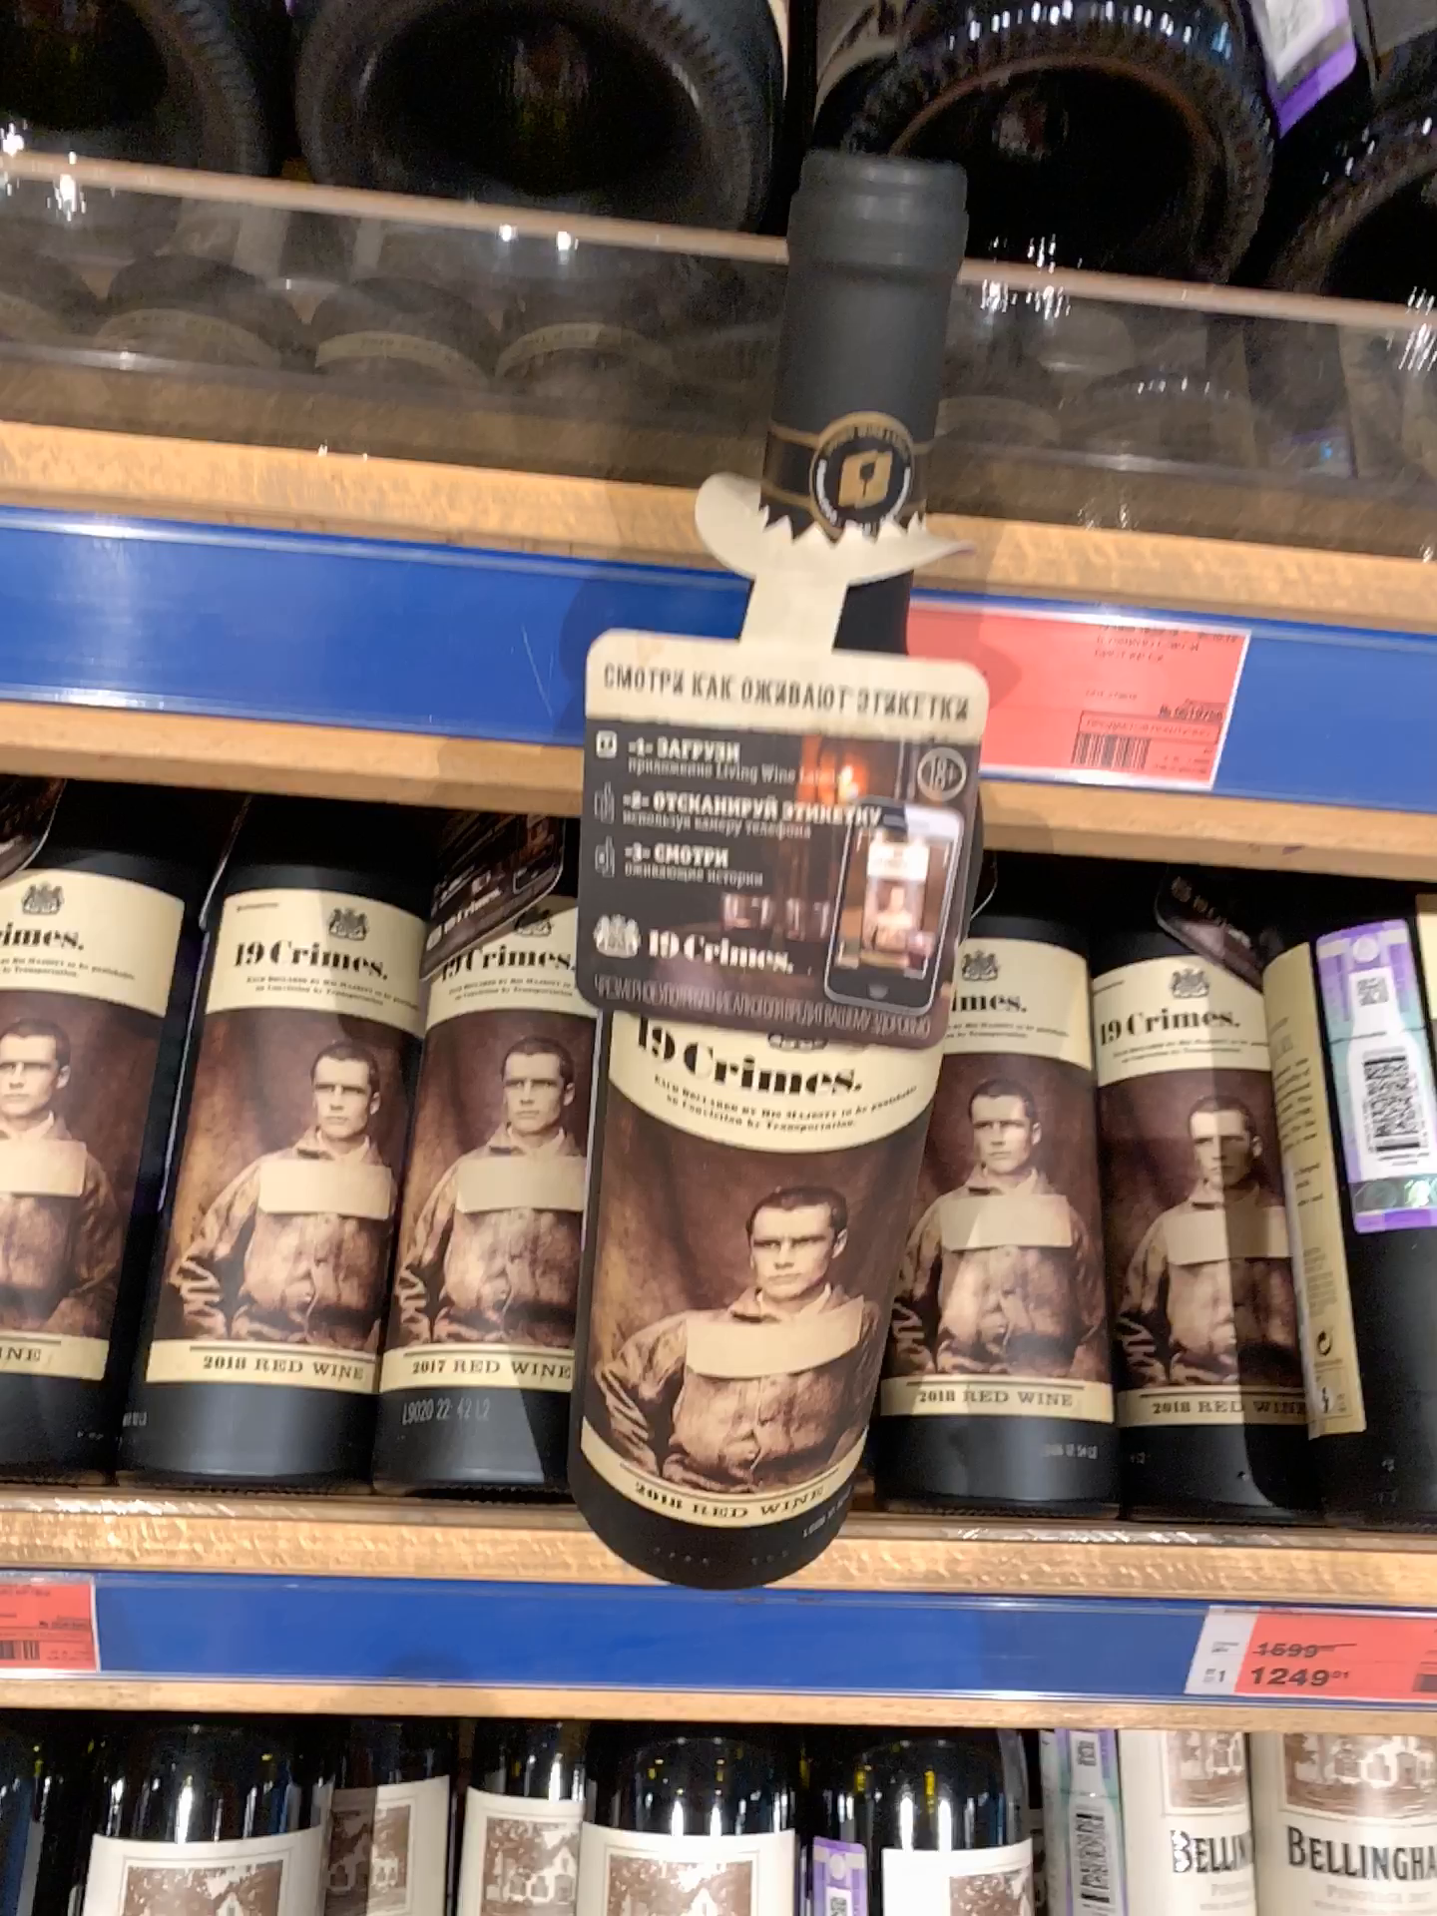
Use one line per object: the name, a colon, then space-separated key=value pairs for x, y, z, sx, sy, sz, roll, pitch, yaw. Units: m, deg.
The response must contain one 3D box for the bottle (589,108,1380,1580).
bottle: x=0.028 y=0.000 z=0.313 sx=0.086 sy=0.299 sz=0.082 roll=6 pitch=31 yaw=-4
